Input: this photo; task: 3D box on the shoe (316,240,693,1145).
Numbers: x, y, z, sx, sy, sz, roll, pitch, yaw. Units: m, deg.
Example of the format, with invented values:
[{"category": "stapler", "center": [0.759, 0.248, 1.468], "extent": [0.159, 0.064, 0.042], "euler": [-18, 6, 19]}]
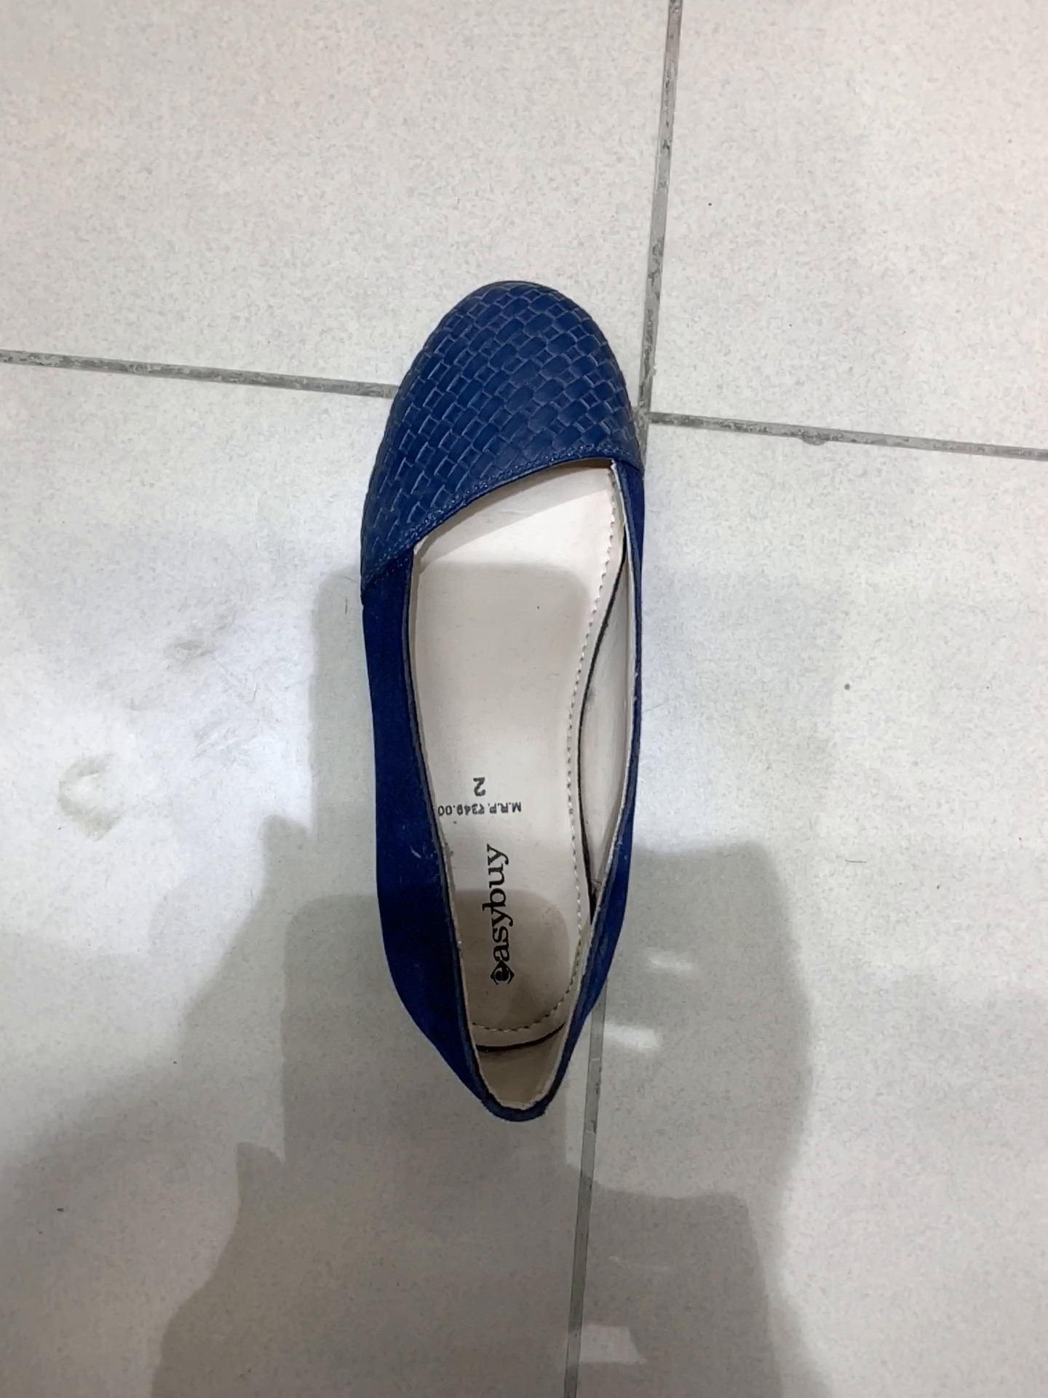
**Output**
[{"category": "shoe", "center": [-0.006, -0.002, 0.293], "extent": [0.090, 0.060, 0.220], "euler": [-1, 90, -3]}]
